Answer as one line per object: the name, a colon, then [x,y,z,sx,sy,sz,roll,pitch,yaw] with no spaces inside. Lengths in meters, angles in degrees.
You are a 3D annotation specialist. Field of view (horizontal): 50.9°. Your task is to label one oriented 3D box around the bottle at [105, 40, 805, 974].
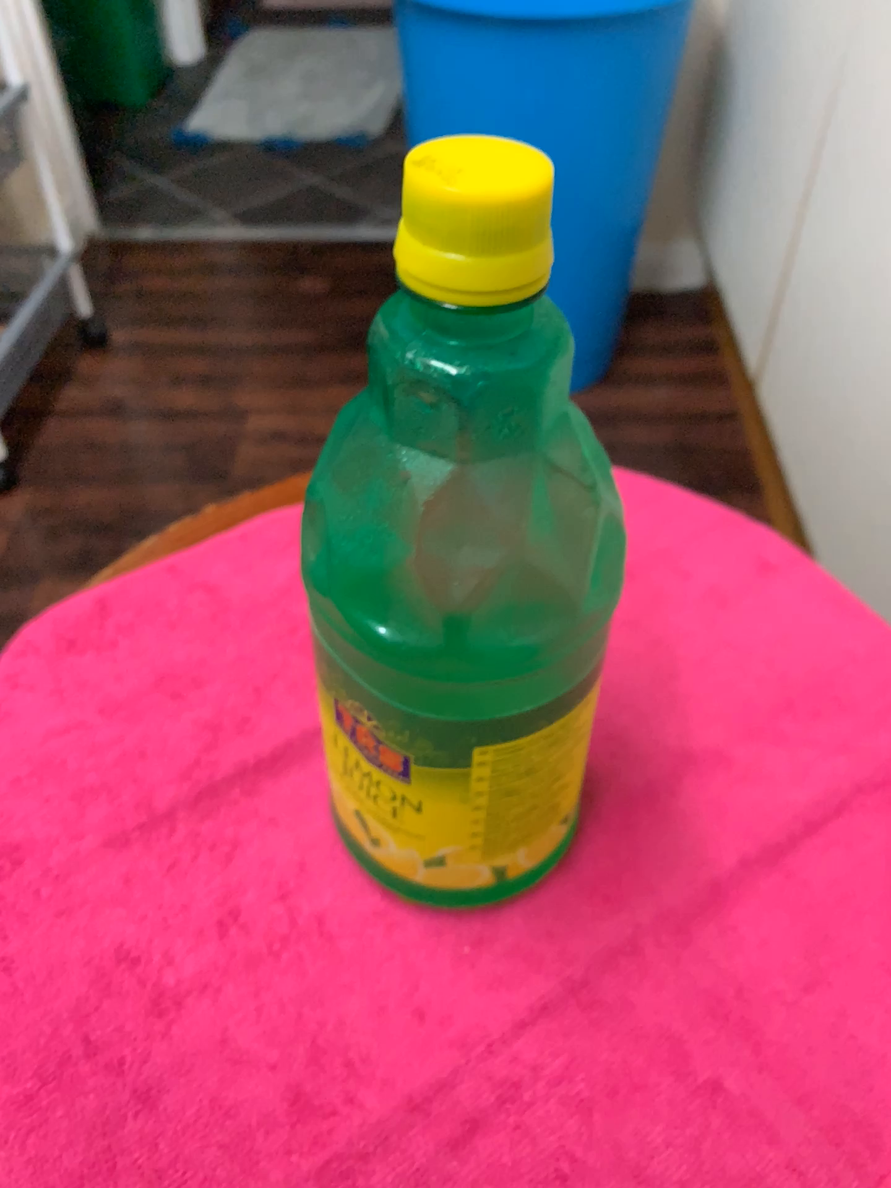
bottle: [0.004,-0.007,0.262,0.100,0.228,0.090,29,53,26]
